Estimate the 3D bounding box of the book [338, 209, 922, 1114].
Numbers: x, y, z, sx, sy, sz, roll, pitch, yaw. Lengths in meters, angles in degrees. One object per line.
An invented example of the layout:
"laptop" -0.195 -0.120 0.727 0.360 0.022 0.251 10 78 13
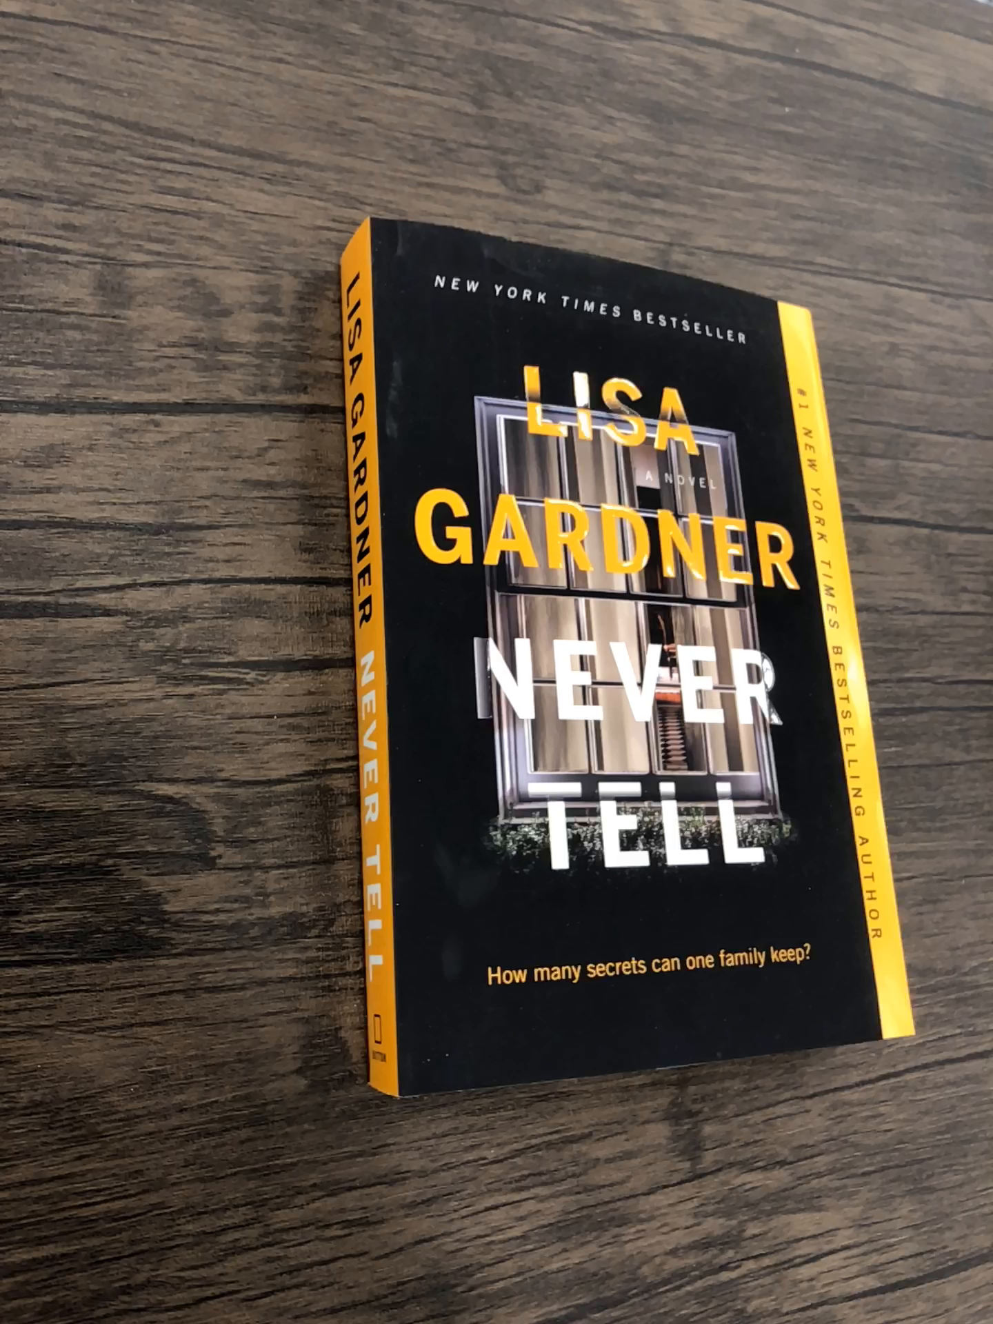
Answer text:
"book" 0.032 -0.003 0.289 0.137 0.032 0.207 3 75 -24
